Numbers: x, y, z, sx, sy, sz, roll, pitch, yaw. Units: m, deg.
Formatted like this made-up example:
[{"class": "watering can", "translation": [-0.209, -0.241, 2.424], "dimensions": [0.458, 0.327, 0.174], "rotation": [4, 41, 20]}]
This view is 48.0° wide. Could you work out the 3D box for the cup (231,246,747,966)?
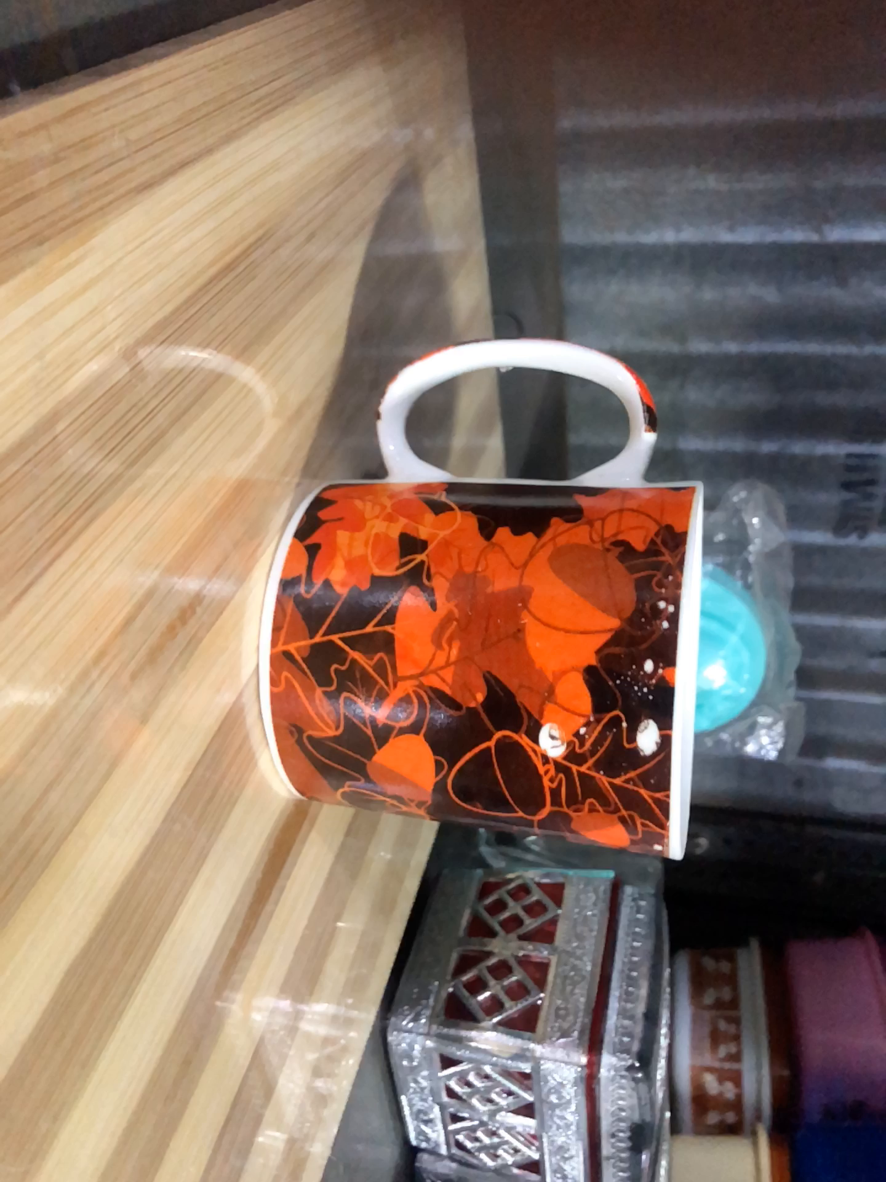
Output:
[{"class": "cup", "translation": [0.015, 0.000, 0.200], "dimensions": [0.080, 0.080, 0.110], "rotation": [-7, 100, -76]}]
